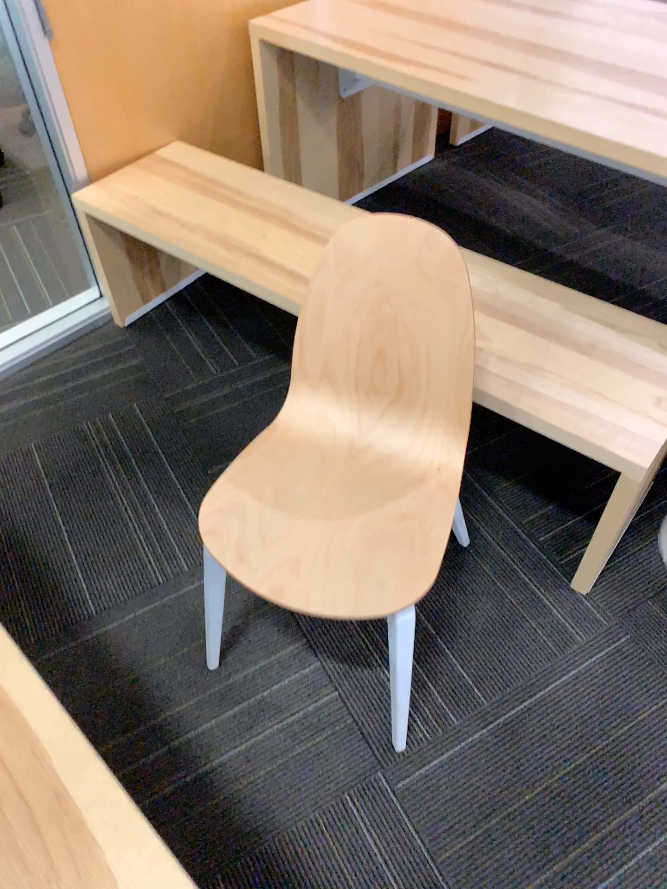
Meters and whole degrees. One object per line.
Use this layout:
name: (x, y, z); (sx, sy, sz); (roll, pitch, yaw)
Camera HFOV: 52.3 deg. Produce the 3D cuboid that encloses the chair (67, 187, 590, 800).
chair: (0.057, 0.095, 1.211); (0.521, 0.766, 0.652); (14, 50, 15)
